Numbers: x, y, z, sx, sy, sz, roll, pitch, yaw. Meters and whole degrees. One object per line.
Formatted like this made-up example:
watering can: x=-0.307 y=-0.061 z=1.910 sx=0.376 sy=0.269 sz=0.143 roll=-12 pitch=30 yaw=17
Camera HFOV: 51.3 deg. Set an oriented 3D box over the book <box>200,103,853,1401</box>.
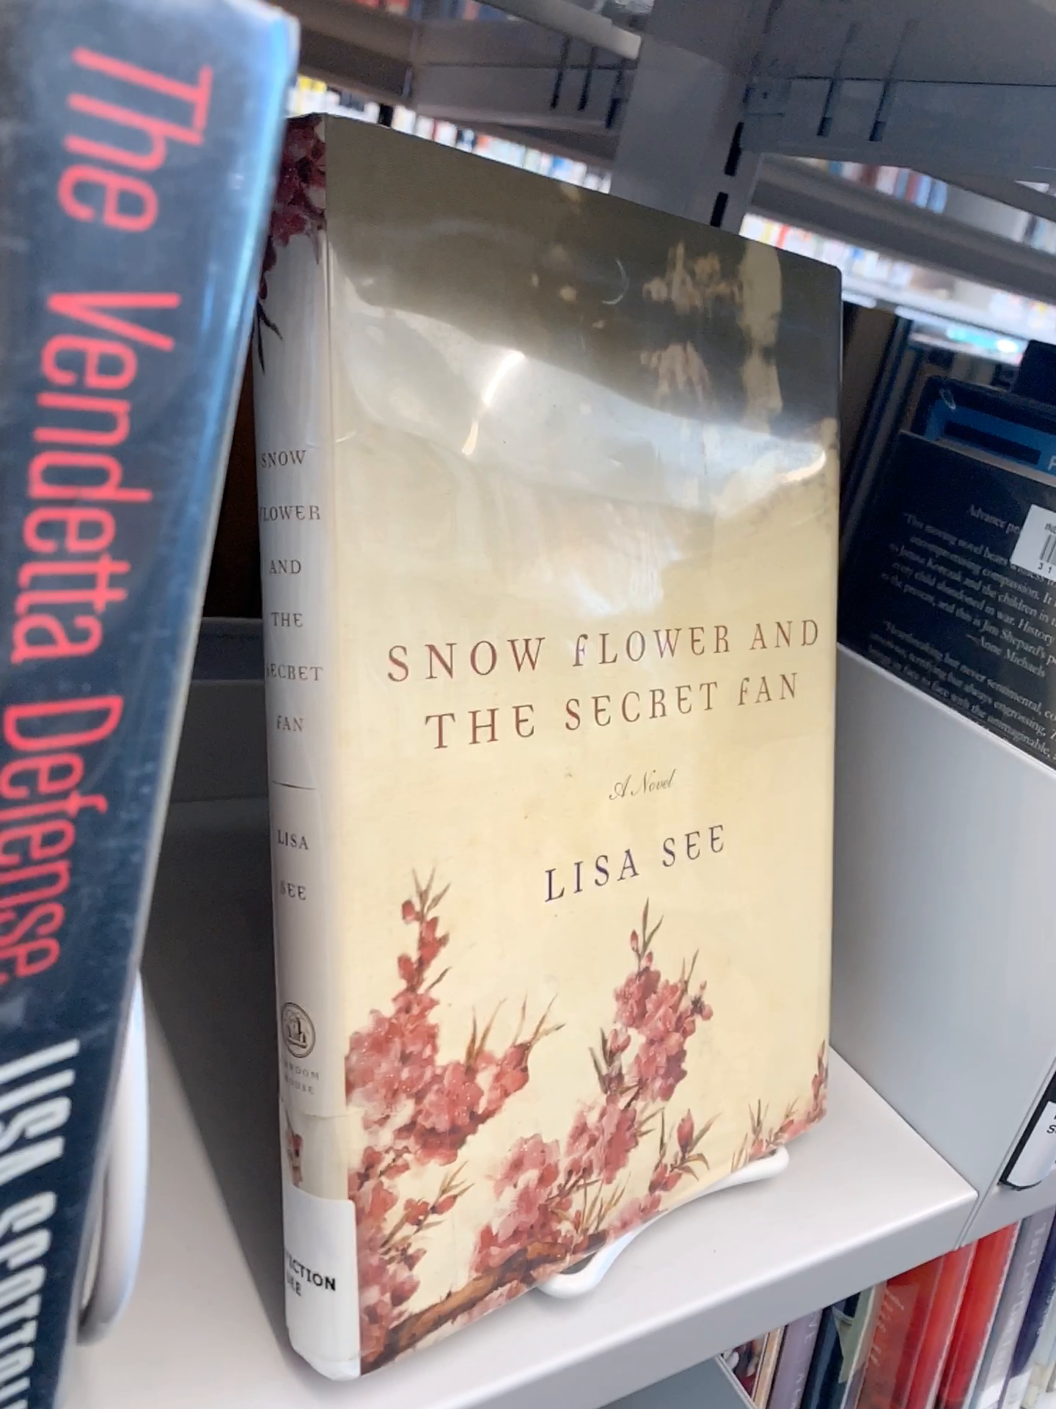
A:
book: x=0.012 y=0.007 z=0.263 sx=0.163 sy=0.231 sz=0.041 roll=-6 pitch=9 yaw=-42
